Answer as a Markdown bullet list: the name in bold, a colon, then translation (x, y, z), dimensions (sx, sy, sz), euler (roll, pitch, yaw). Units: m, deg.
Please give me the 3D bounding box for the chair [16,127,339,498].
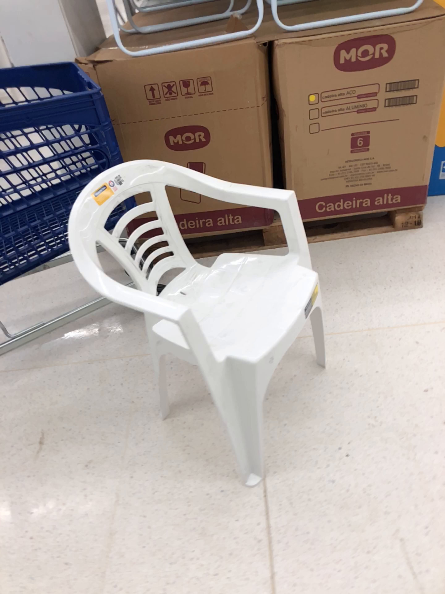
- **chair**: translation (-0.032, 0.018, 1.269), dimensions (0.501, 0.695, 0.522), euler (15, 46, 28)
